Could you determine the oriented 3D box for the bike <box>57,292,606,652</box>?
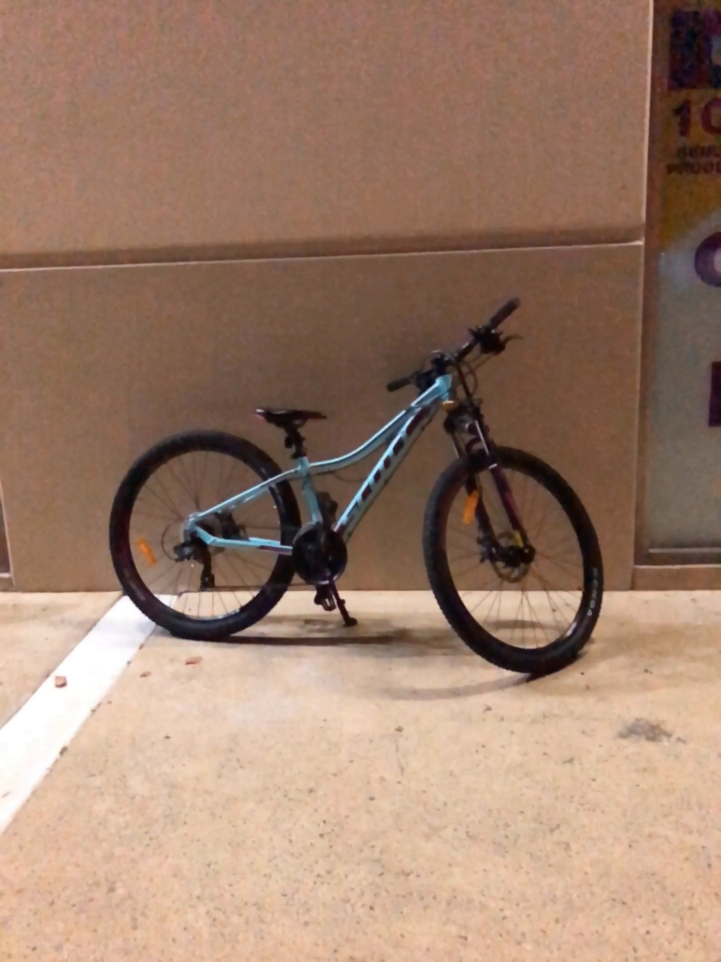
[{"bbox_3d":[-0.027,-0.050,2.668,1.602,1.064,0.589,-1,12,7],"label":"bike"}]
